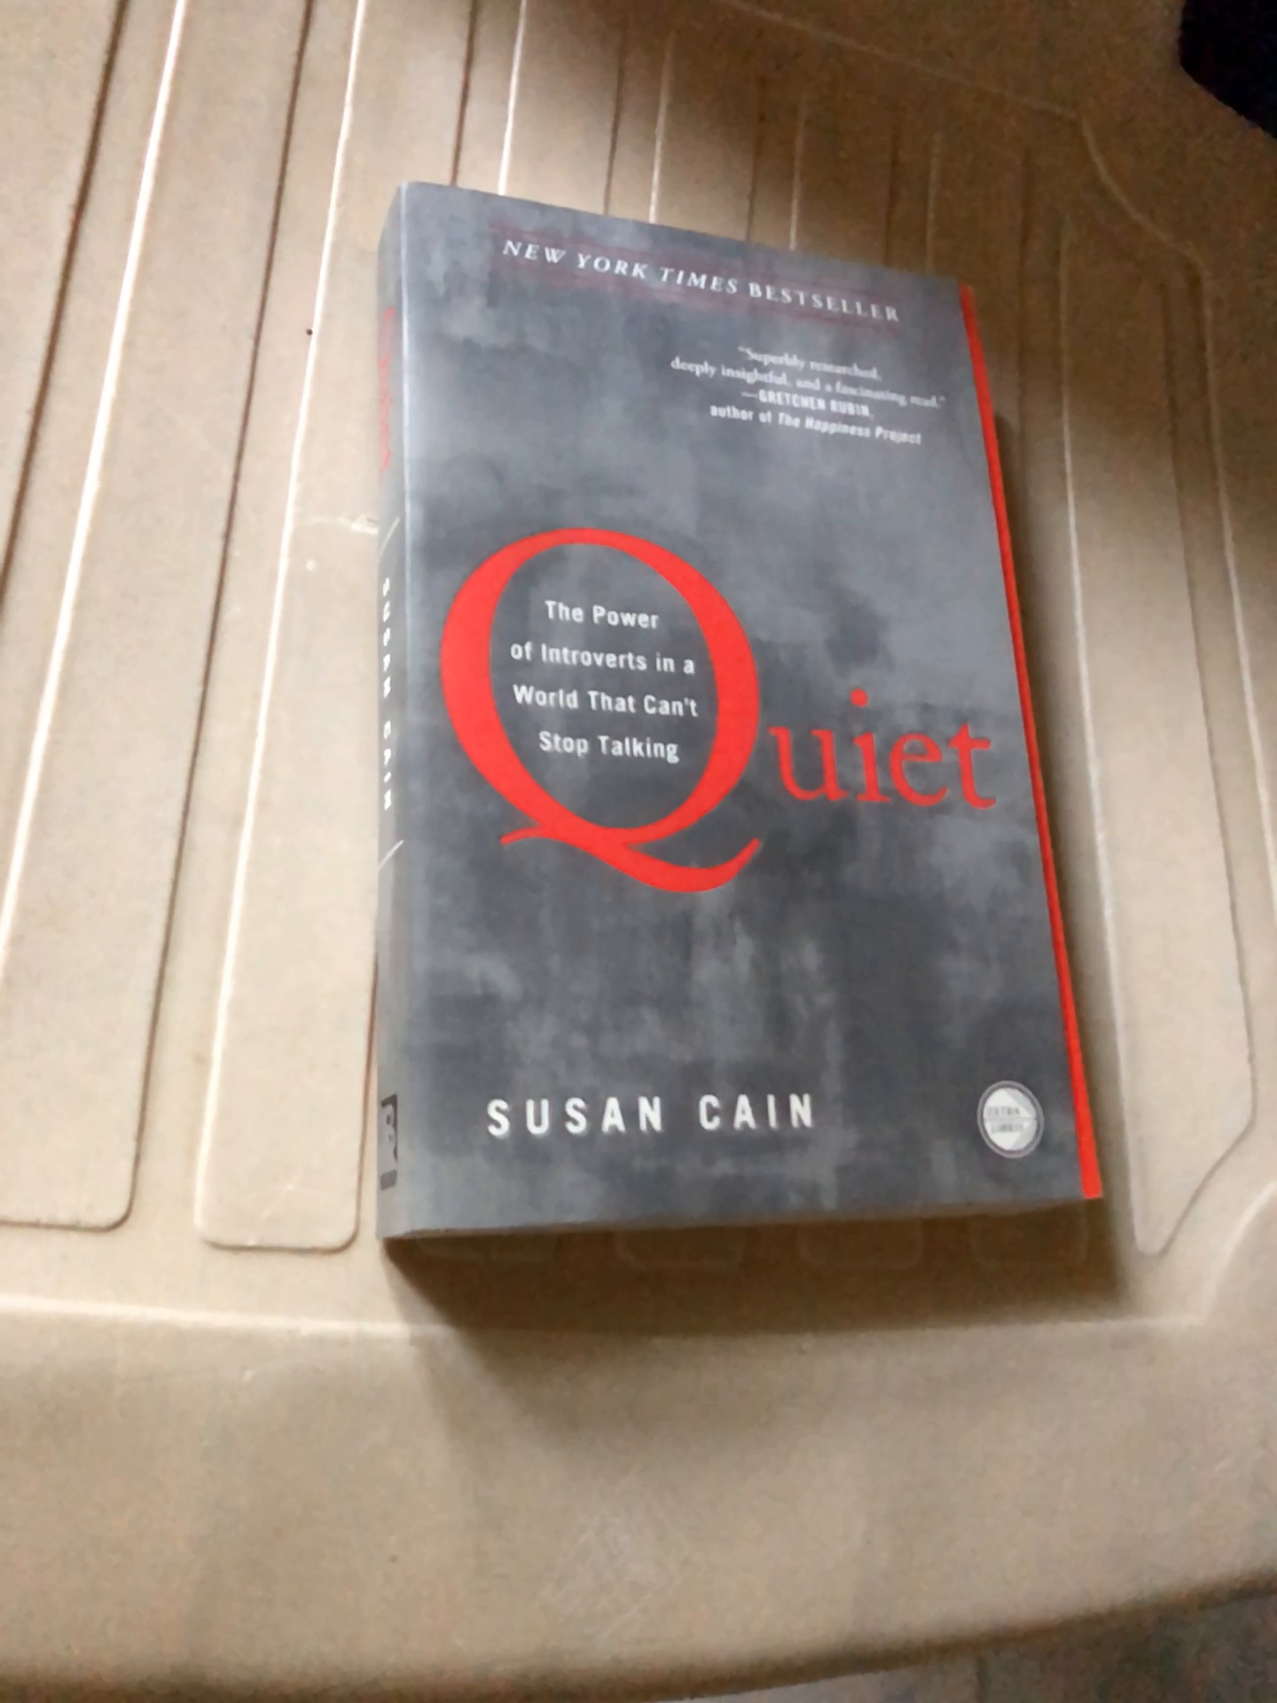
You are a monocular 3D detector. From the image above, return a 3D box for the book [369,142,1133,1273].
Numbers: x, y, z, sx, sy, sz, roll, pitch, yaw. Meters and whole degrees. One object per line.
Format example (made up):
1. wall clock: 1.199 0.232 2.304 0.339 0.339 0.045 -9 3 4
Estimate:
1. book: 0.017 -0.028 0.272 0.130 0.030 0.200 3 73 -20
